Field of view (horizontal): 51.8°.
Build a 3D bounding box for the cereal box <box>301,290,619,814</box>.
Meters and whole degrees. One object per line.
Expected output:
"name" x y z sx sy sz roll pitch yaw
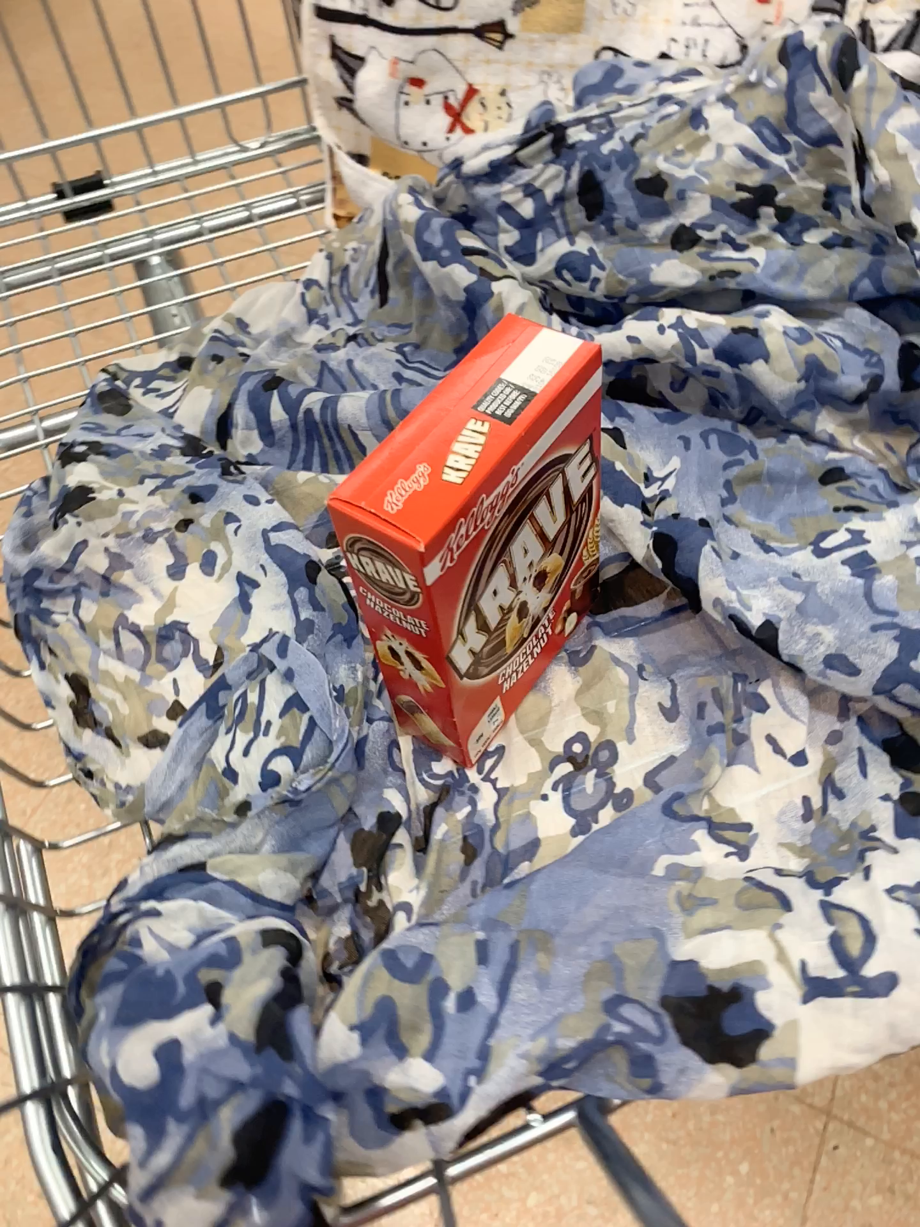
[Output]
"cereal box" 0.009 -0.012 0.310 0.040 0.149 0.090 27 61 24
